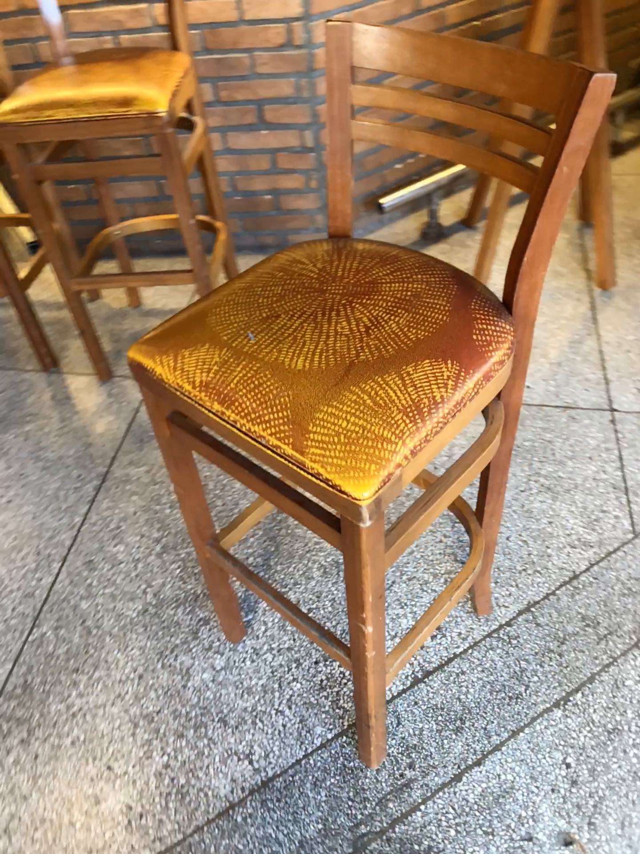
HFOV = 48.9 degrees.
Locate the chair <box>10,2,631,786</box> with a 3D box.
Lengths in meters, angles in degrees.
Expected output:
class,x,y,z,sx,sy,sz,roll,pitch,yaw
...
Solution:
class,x,y,z,sx,sy,sz,roll,pitch,yaw
chair,0.044,0.028,1.002,0.401,0.974,0.431,32,57,33
